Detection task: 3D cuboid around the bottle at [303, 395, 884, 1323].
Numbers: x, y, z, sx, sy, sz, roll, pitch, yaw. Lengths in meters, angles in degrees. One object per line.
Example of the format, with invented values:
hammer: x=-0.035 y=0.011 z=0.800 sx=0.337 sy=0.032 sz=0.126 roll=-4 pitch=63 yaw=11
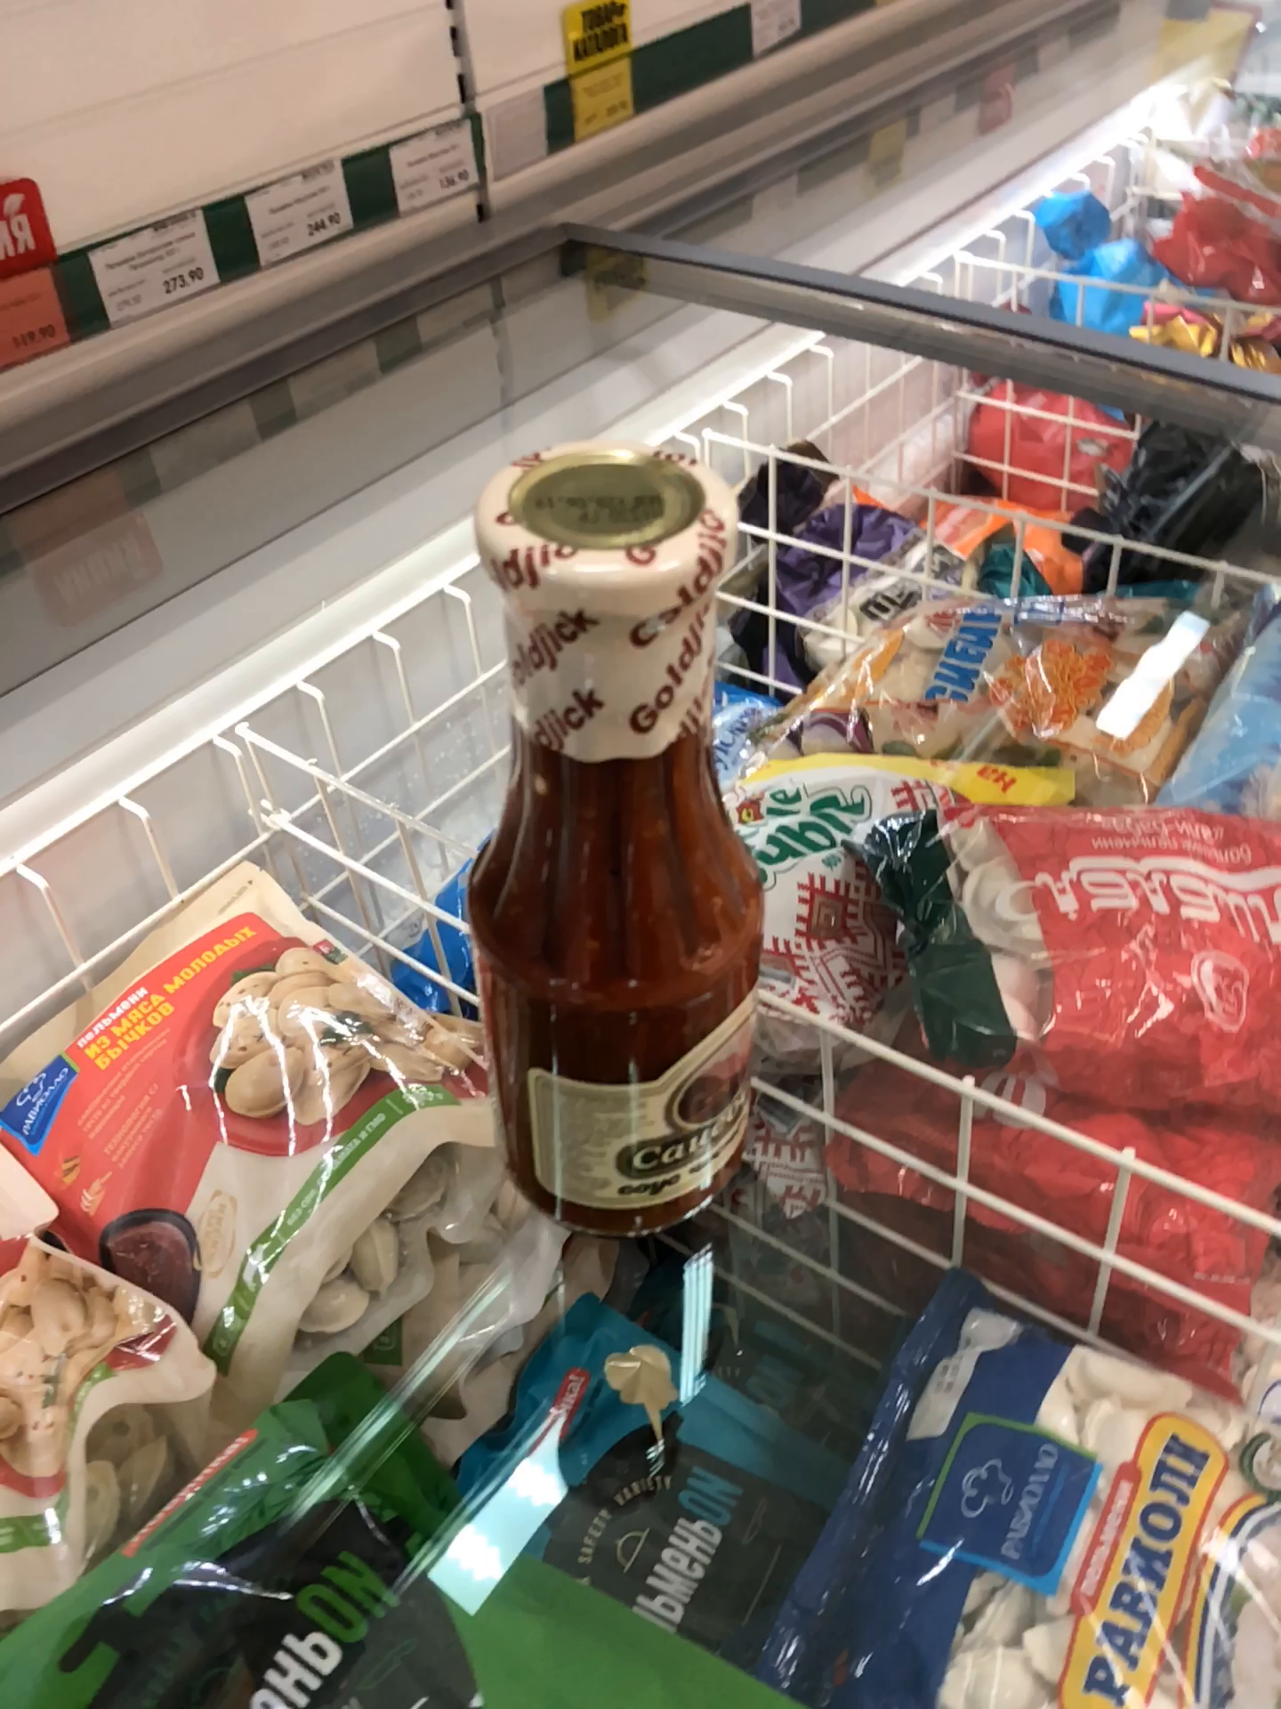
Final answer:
bottle: x=-0.006 y=0.009 z=0.299 sx=0.070 sy=0.179 sz=0.070 roll=-1 pitch=43 yaw=0
